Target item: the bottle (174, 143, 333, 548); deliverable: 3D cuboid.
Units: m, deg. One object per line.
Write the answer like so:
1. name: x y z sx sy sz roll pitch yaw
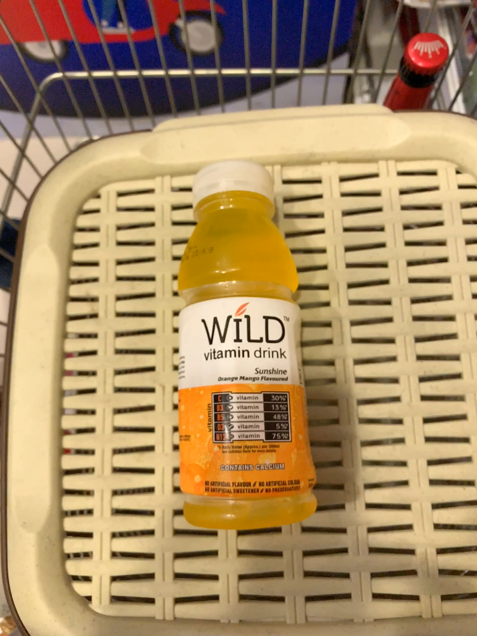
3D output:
1. bottle: 0.001 0.011 0.242 0.060 0.060 0.170 0 79 -9
